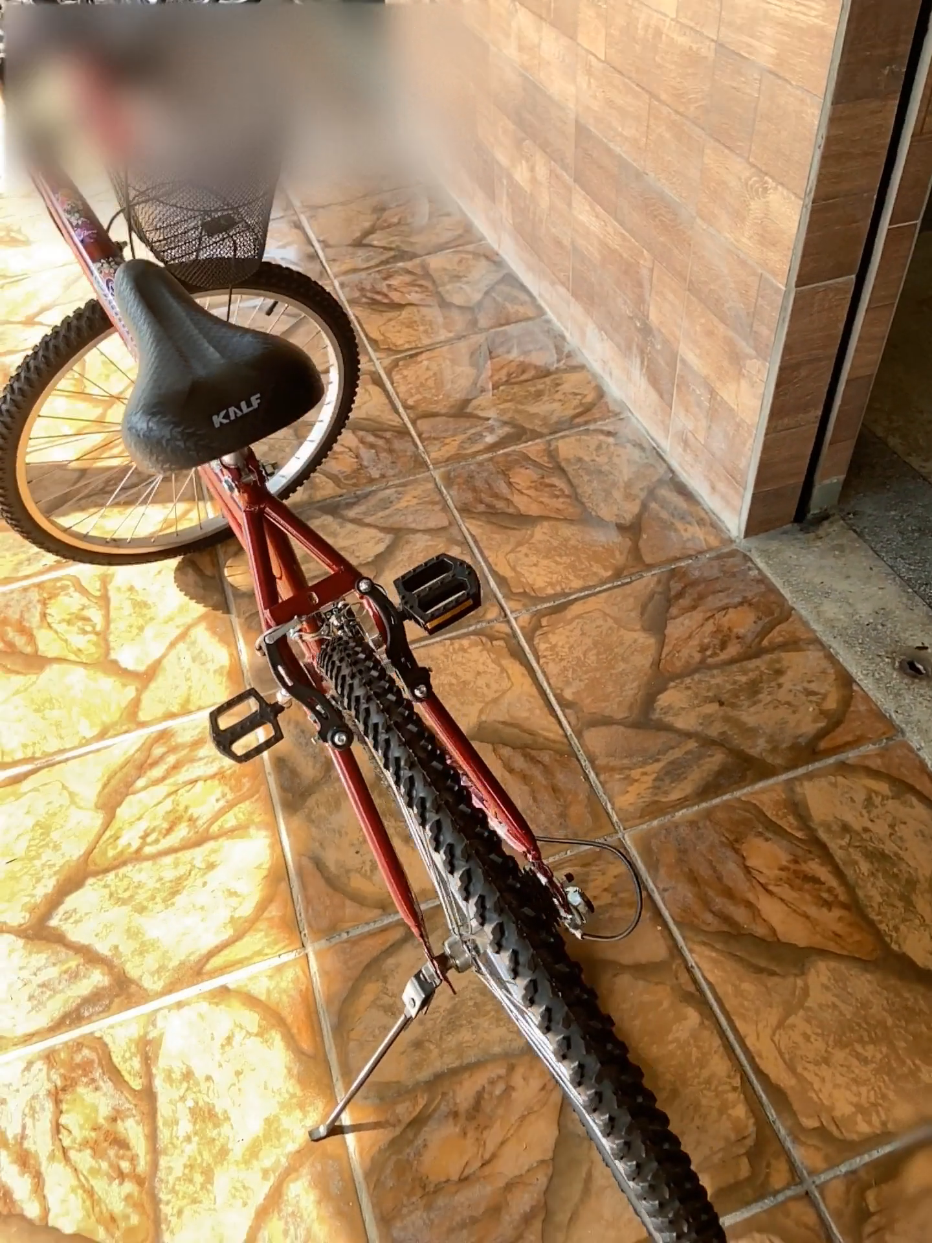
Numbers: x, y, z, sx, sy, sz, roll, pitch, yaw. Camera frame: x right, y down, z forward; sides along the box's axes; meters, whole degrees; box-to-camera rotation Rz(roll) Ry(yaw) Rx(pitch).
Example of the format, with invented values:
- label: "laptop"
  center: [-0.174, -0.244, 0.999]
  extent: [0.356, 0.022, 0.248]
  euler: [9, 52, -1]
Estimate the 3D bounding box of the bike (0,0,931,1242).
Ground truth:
- label: "bike"
  center: [-0.143, -0.108, 1.012]
  extent: [0.549, 1.080, 1.416]
  euler: [-15, 46, -9]
